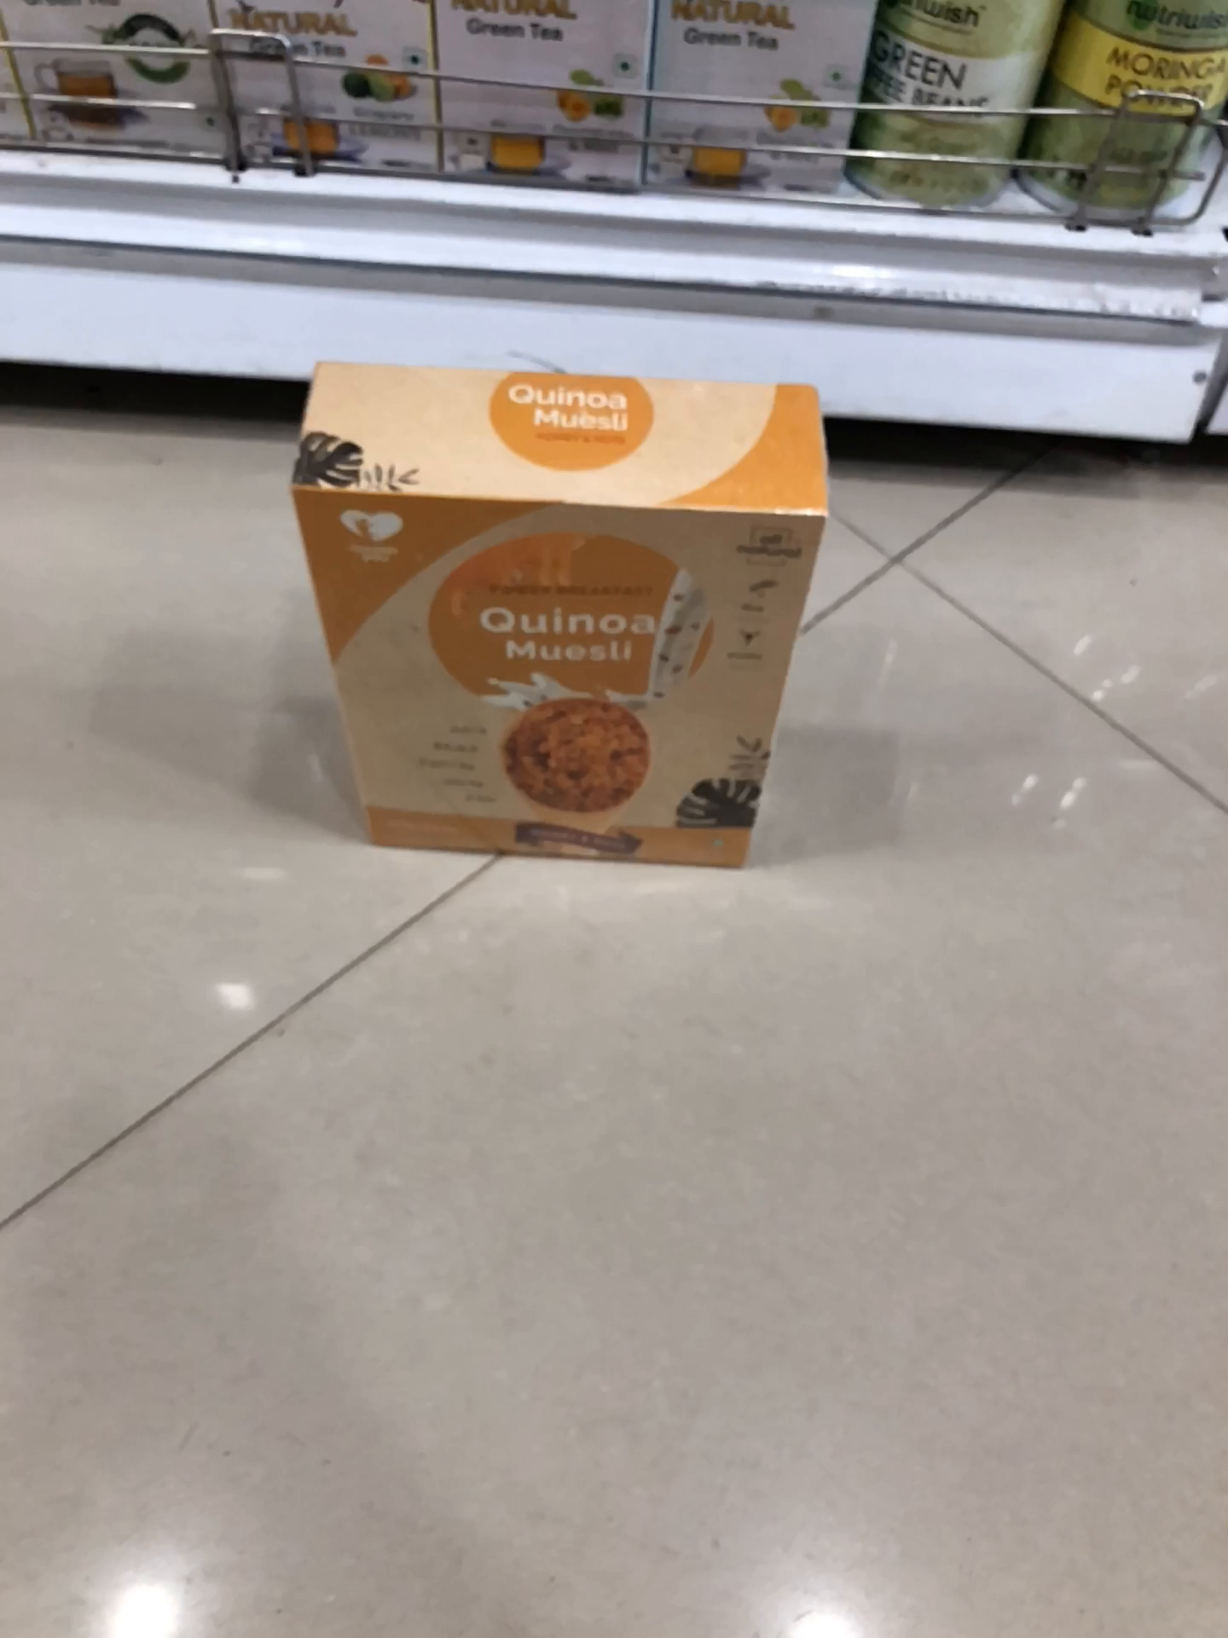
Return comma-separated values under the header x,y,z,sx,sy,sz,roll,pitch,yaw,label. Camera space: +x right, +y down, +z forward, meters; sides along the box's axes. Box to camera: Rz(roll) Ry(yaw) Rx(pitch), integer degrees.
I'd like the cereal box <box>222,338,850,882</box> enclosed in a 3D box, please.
x,y,z,sx,sy,sz,roll,pitch,yaw,label
-0.023,-0.058,0.470,0.170,0.199,0.060,3,58,-1,cereal box
